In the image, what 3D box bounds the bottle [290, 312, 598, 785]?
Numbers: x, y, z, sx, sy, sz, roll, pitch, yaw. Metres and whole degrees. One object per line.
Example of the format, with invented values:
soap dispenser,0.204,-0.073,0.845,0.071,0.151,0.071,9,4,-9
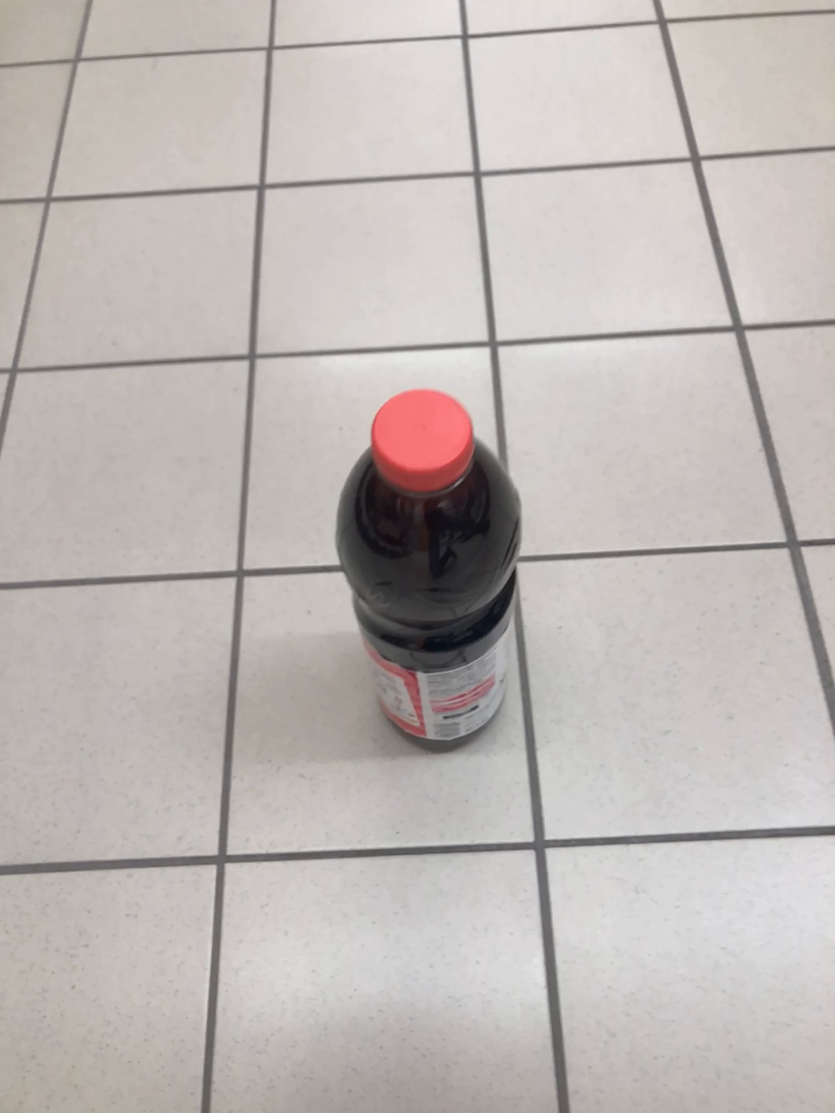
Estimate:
bottle,0.014,0.021,0.483,0.090,0.289,0.100,-18,63,-6
